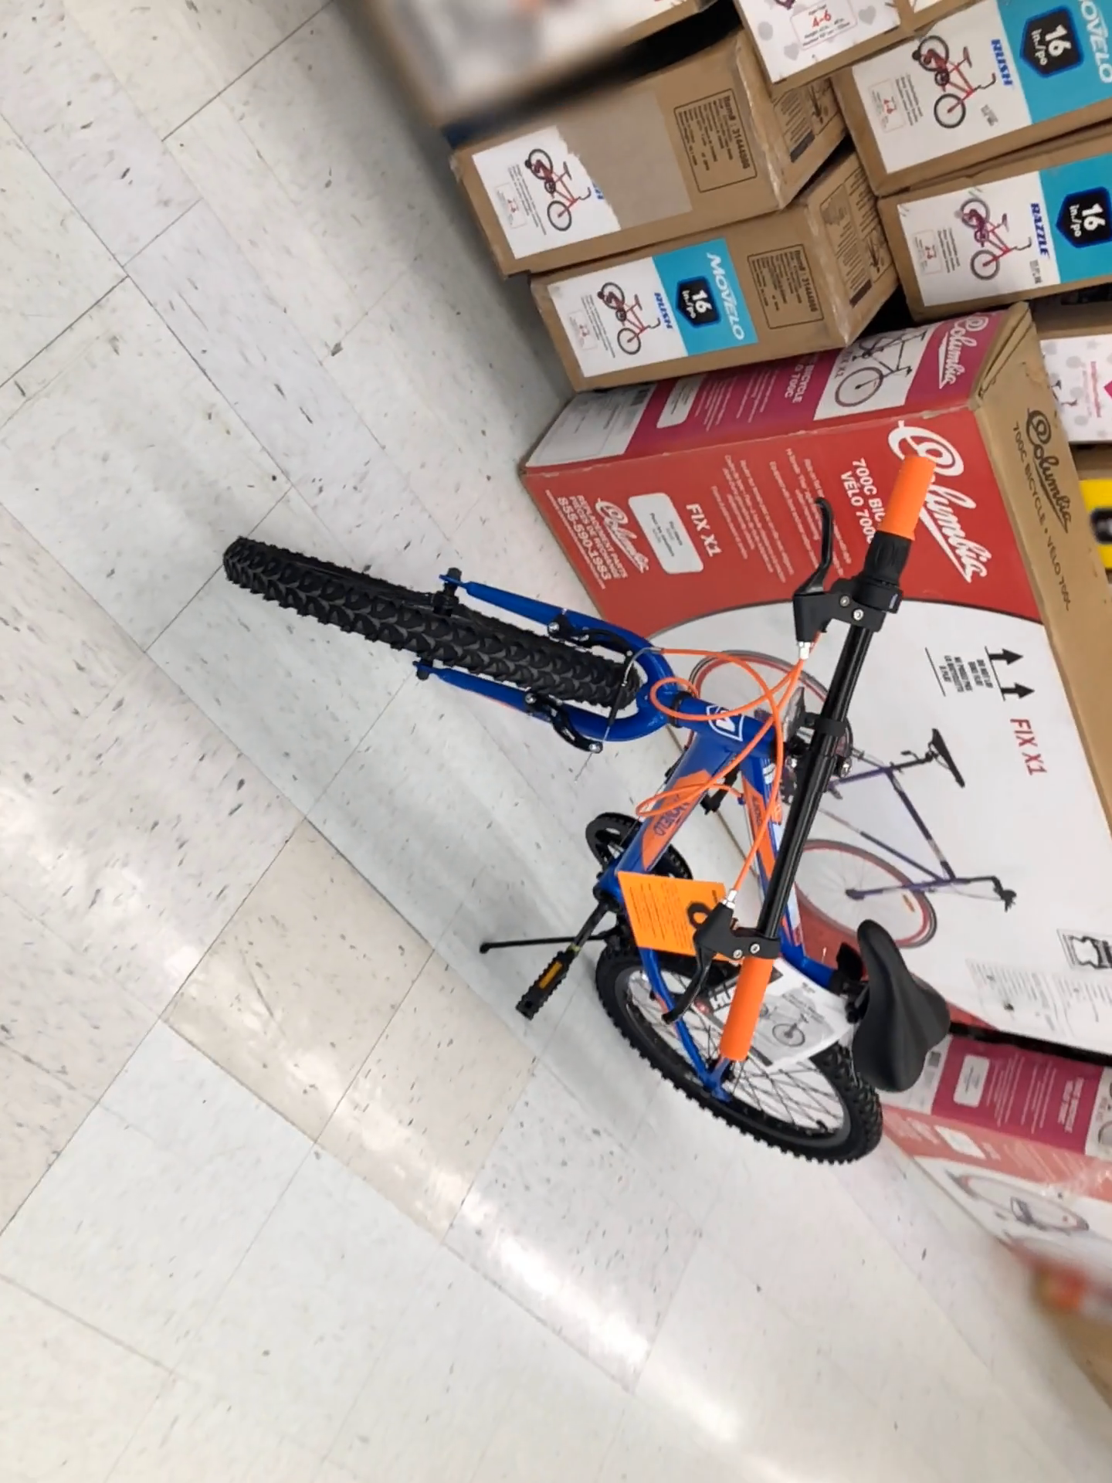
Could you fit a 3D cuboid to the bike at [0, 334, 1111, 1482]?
[{"bbox_3d":[0.079,0.257,1.565,1.319,0.869,0.585,50,56,-31],"label":"bike"}]
